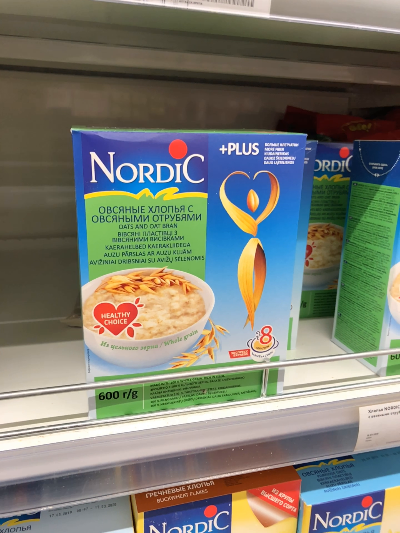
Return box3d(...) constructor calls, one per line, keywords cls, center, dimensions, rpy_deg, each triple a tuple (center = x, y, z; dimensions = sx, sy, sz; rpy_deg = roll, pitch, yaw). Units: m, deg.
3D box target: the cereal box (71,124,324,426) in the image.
box3d(cls="cereal box", center=(-0.008, 0.001, 0.316), dimensions=(0.150, 0.189, 0.070), rpy_deg=(-3, 17, -14))
